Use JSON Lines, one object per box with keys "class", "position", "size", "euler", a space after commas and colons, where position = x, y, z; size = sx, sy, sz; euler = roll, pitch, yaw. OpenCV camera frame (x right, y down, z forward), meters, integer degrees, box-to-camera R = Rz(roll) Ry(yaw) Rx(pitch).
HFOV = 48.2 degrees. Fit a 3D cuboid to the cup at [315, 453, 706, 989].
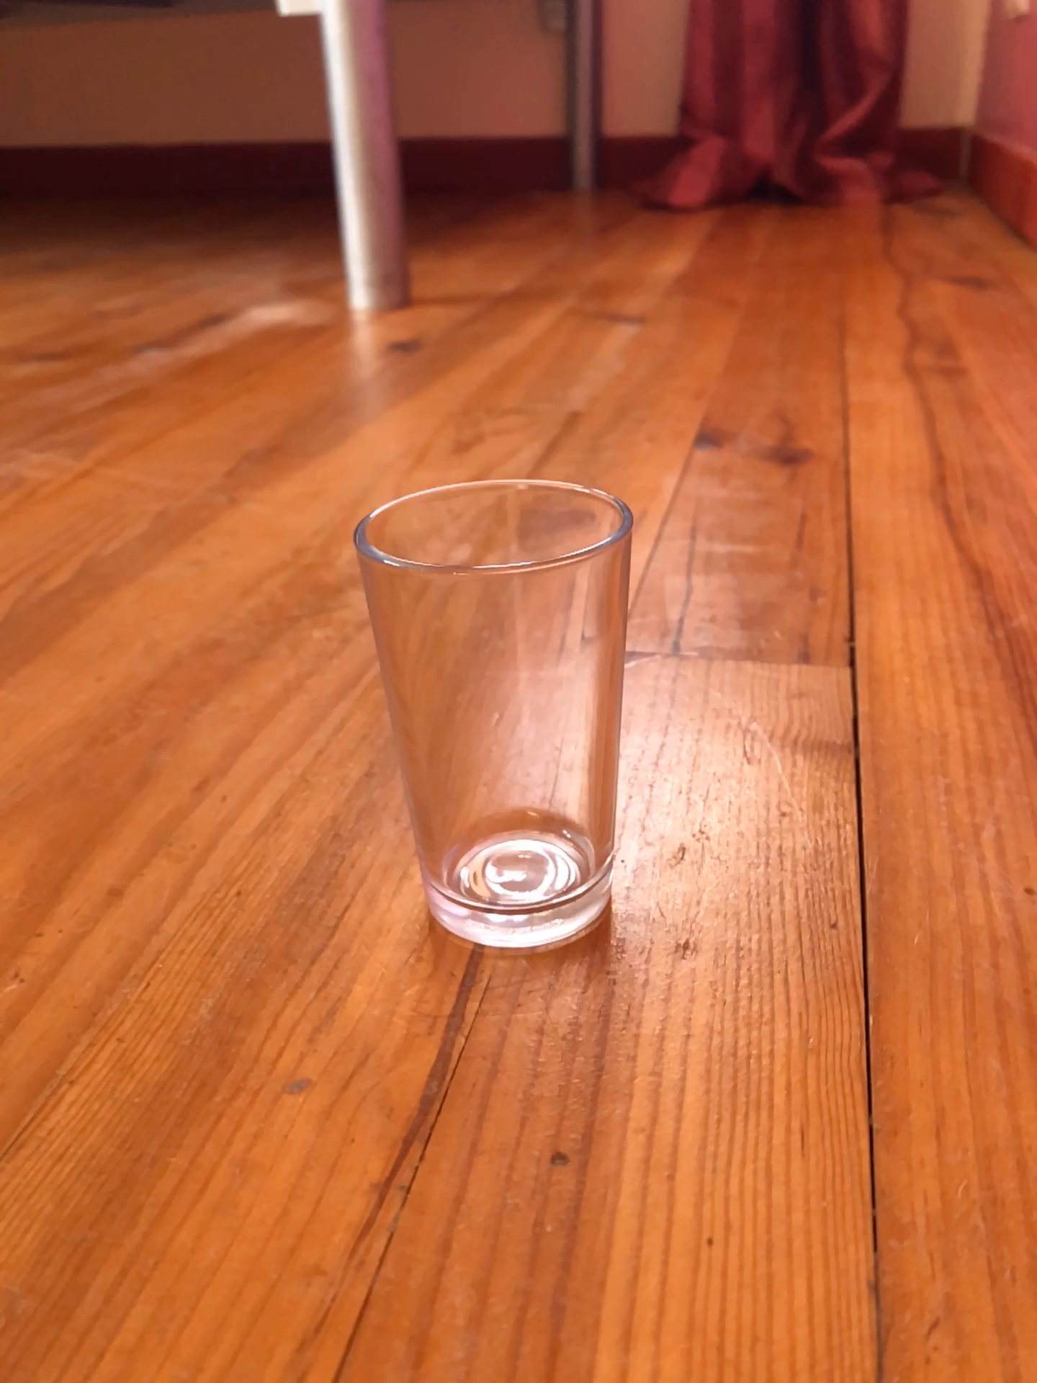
{"class": "cup", "position": [-0.002, 0.002, 0.226], "size": [0.051, 0.079, 0.055], "euler": [-2, 26, 1]}
